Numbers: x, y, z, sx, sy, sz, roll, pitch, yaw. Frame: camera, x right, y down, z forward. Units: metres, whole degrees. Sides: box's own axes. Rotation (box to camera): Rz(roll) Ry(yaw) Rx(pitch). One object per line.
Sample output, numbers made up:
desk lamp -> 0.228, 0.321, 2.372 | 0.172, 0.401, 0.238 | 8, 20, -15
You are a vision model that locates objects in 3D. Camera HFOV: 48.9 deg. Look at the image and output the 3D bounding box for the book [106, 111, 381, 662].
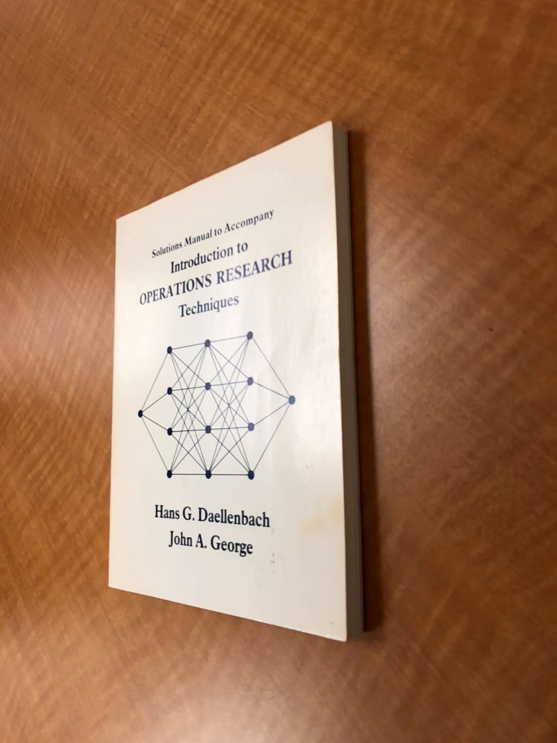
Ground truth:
book -> -0.032, 0.009, 0.341 | 0.181, 0.020, 0.250 | -8, 79, 40
